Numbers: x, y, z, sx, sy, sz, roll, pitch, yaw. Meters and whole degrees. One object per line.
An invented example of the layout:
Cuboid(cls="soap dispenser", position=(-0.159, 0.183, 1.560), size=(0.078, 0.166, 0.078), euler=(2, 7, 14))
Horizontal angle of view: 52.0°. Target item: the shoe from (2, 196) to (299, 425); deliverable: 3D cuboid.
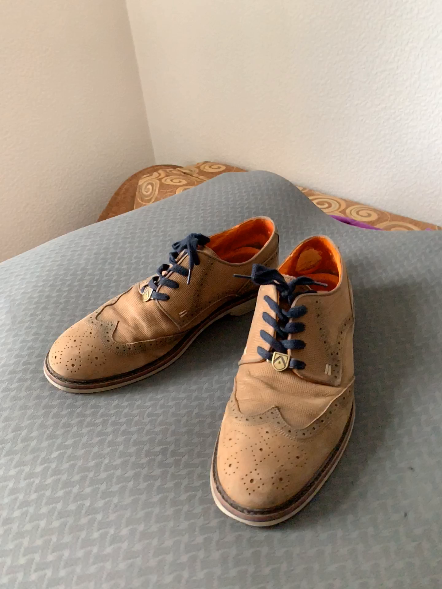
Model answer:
Cuboid(cls="shoe", position=(-0.060, -0.001, 0.505), size=(0.300, 0.090, 0.111), euler=(-29, 43, -26))

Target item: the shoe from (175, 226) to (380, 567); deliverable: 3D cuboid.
Cuboid(cls="shoe", position=(0.071, 0.056, 0.406), size=(0.110, 0.090, 0.291), euler=(8, 40, 17))
